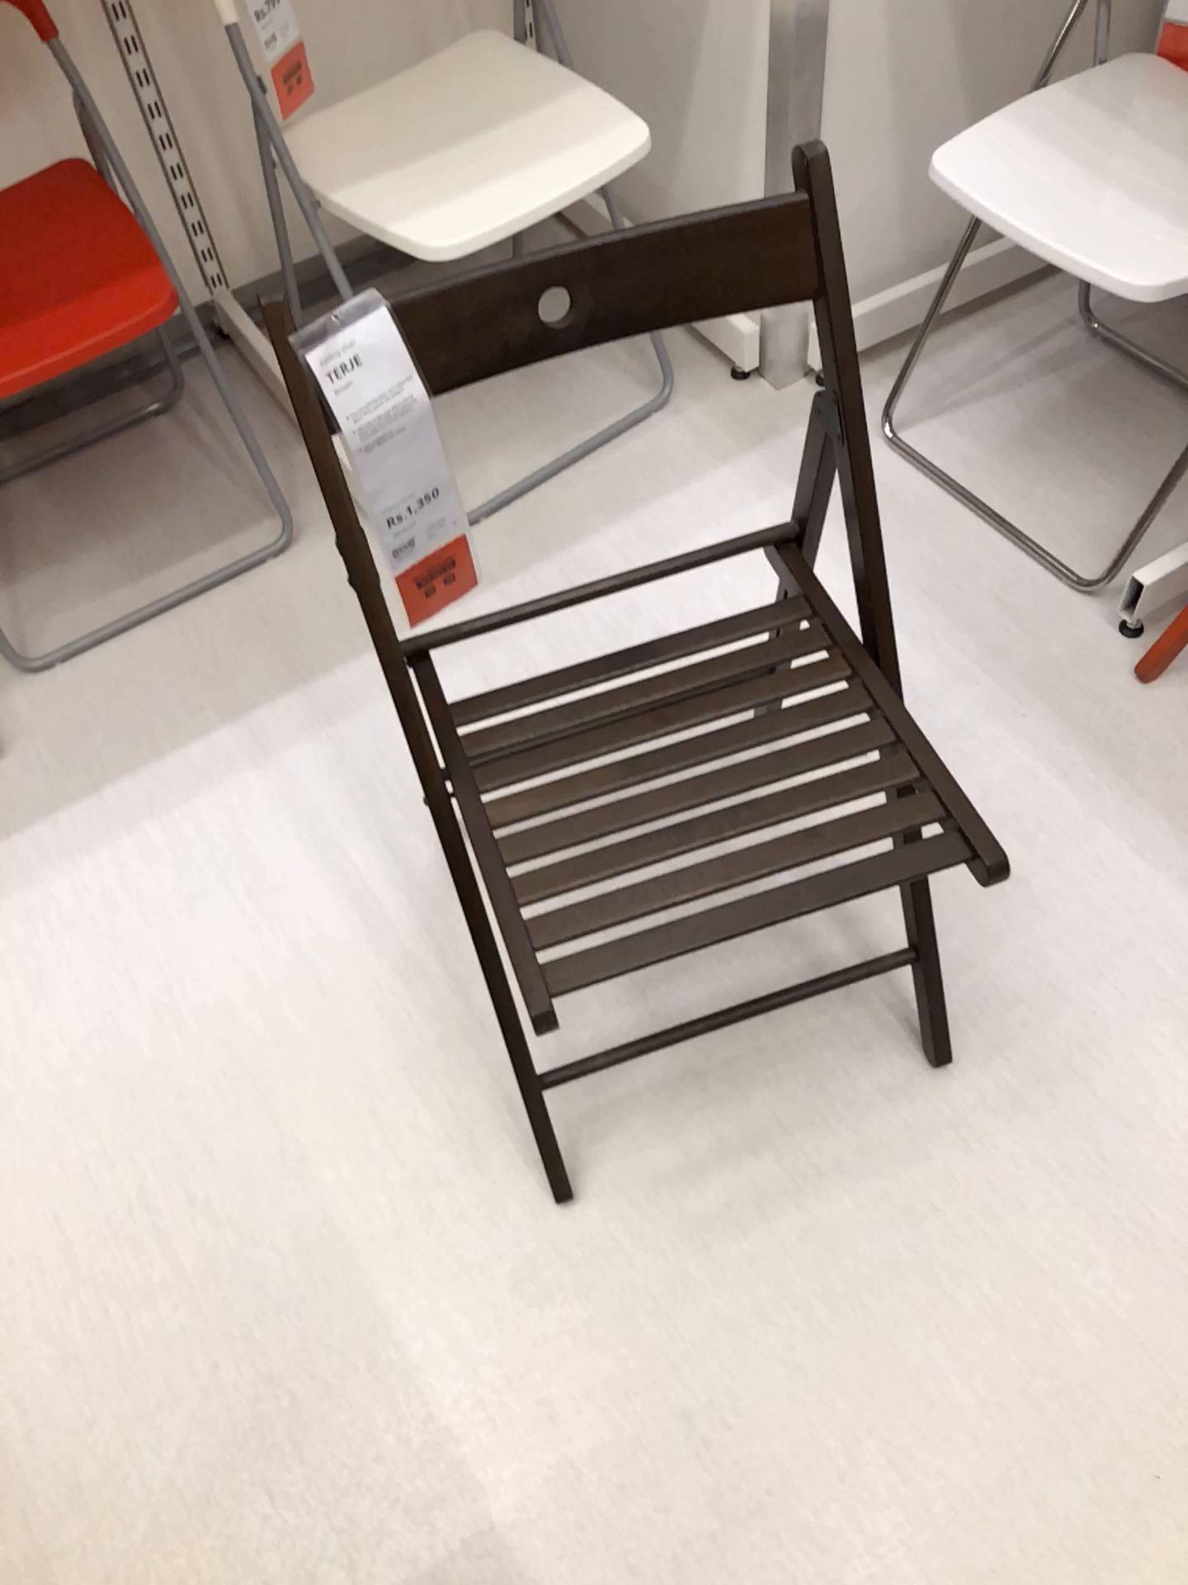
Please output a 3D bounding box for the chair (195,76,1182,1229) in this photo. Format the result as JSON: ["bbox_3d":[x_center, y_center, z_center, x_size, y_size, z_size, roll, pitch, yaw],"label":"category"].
[{"bbox_3d":[0.047,-0.054,1.127,0.460,0.776,0.503,-18,56,-7],"label":"chair"}]
